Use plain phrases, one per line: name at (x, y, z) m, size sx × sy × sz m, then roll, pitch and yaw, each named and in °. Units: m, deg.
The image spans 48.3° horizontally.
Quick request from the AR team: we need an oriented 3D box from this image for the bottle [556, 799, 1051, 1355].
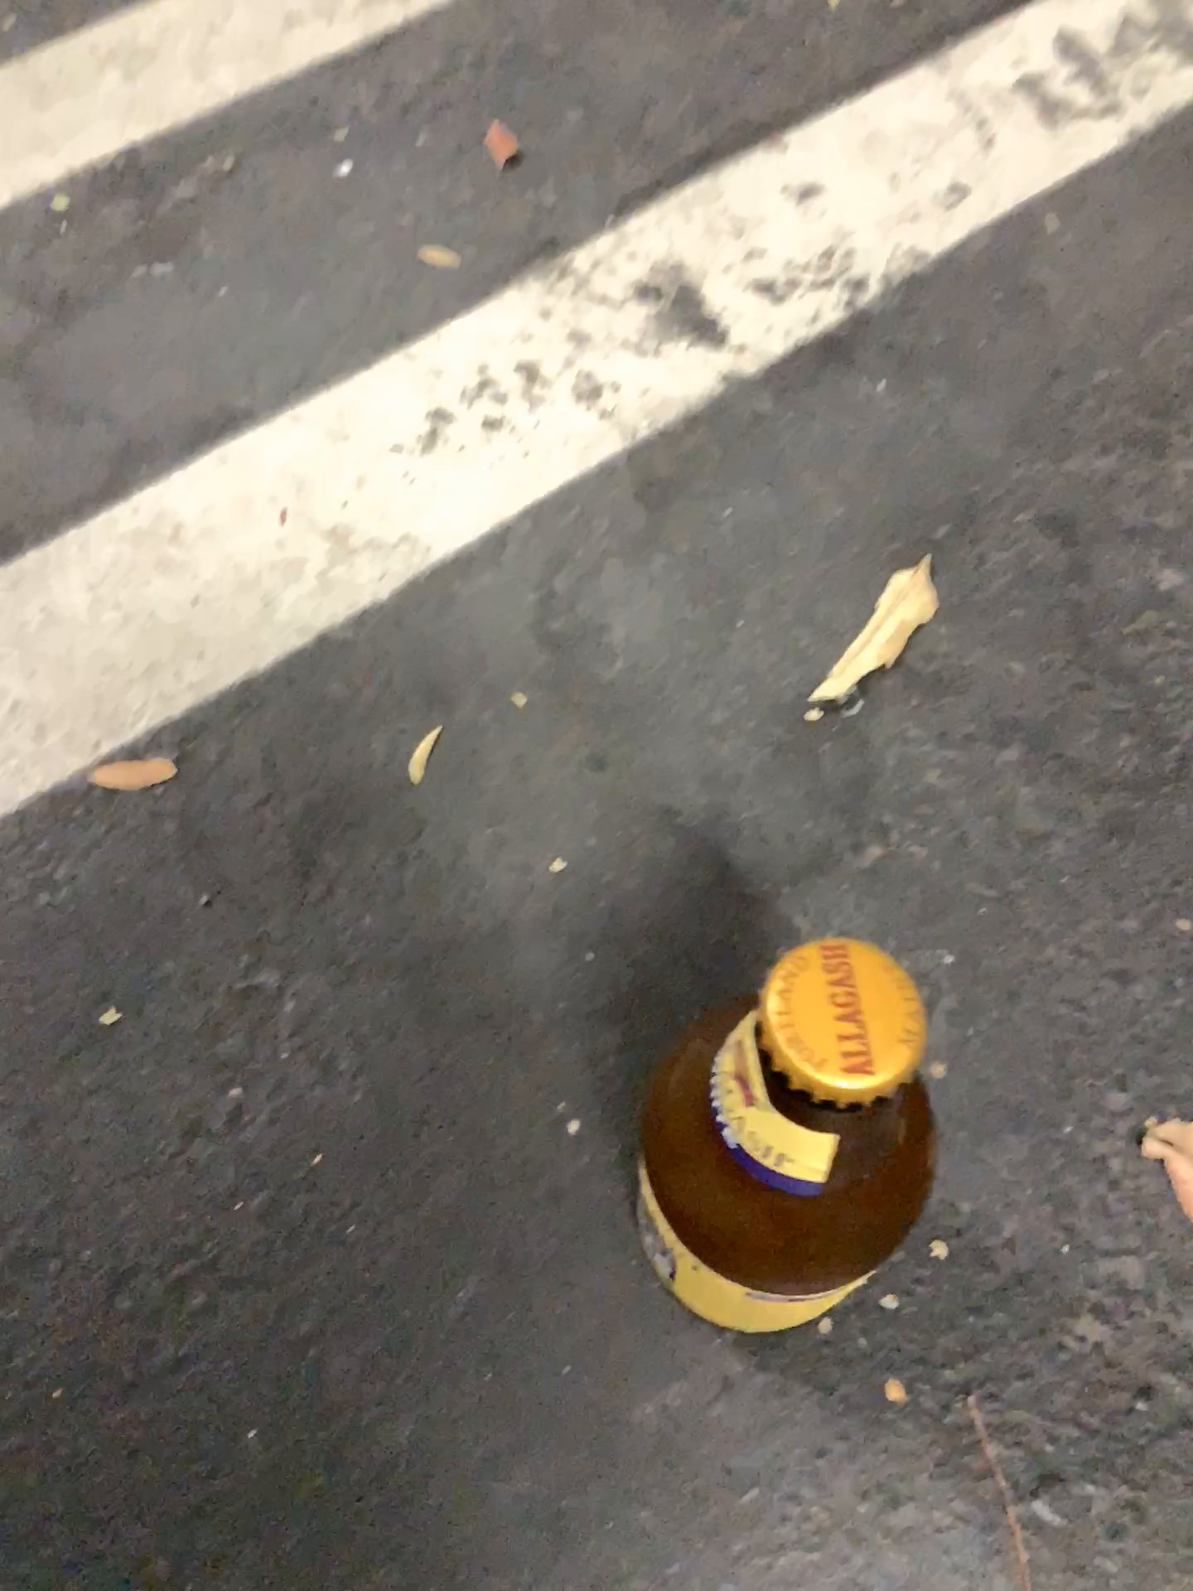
bottle at (0.038, 0.080, 0.312) m, size 0.070 × 0.190 × 0.070 m, roll -2°, pitch 63°, yaw 3°
